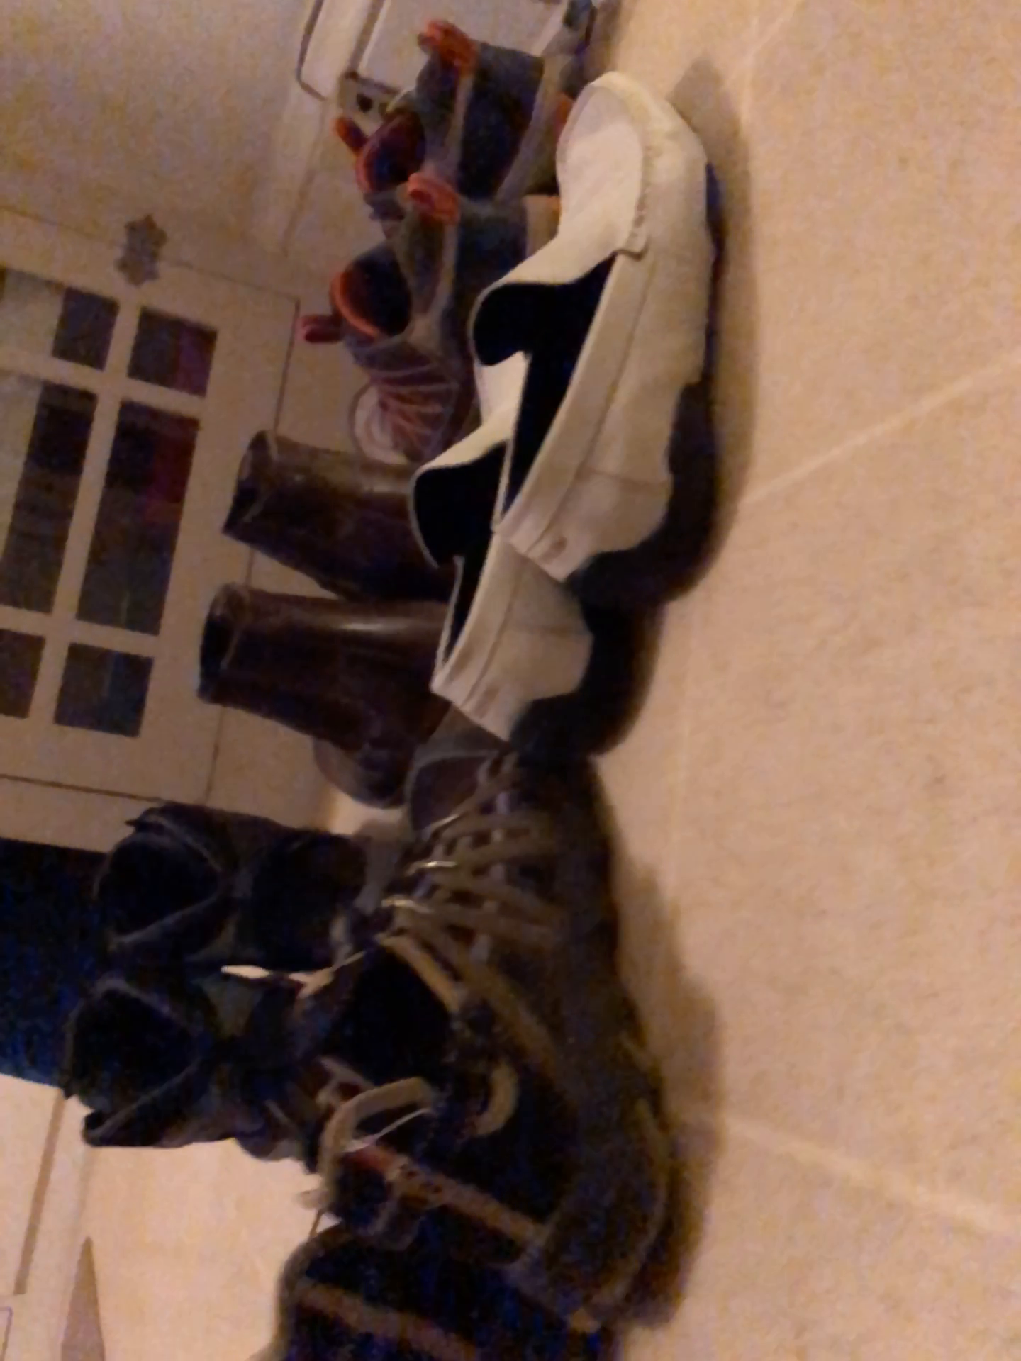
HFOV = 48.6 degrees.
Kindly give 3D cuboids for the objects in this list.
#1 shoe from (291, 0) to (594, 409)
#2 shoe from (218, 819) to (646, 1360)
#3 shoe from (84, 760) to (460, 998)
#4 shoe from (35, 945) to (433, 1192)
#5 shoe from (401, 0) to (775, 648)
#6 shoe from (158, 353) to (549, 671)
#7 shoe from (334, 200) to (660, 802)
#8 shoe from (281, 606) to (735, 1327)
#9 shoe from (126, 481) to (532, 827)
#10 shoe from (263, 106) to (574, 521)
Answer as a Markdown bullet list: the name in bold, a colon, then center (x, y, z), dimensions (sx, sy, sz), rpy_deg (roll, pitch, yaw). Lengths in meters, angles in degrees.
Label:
- **shoe**: center (-0.064, -0.332, 0.829), dimensions (0.314, 0.113, 0.110), rpy_deg (150, 130, -64)
- **shoe**: center (-0.060, 0.198, 0.524), dimensions (0.294, 0.123, 0.110), rpy_deg (-119, 45, -62)
- **shoe**: center (-0.188, 0.149, 0.811), dimensions (0.324, 0.192, 0.110), rpy_deg (153, 127, -65)
- **shoe**: center (-0.201, 0.261, 0.758), dimensions (0.324, 0.192, 0.110), rpy_deg (143, 137, -61)
- **shoe**: center (0.032, -0.184, 0.527), dimensions (0.110, 0.113, 0.304), rpy_deg (133, 144, -55)
- **shoe**: center (-0.132, -0.097, 0.813), dimensions (0.324, 0.192, 0.110), rpy_deg (165, 116, -68)
- **shoe**: center (-0.015, -0.104, 0.599), dimensions (0.110, 0.113, 0.304), rpy_deg (125, 151, -47)
- **shoe**: center (-0.026, 0.104, 0.498), dimensions (0.294, 0.123, 0.110), rpy_deg (-105, 34, -53)
- **shoe**: center (-0.143, 0.005, 0.784), dimensions (0.324, 0.192, 0.110), rpy_deg (144, 135, -62)
- **shoe**: center (-0.079, -0.231, 0.792), dimensions (0.314, 0.113, 0.110), rpy_deg (150, 130, -64)
